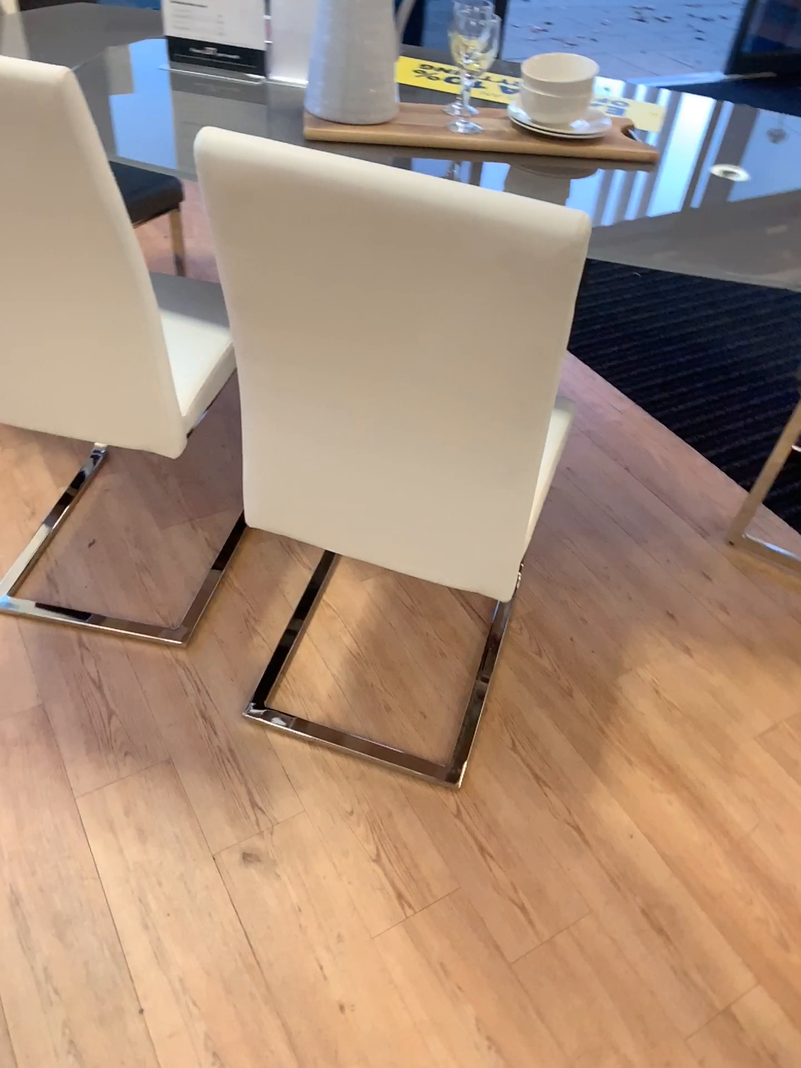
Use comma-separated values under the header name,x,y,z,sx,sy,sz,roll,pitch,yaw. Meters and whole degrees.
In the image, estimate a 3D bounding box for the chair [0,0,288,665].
name,x,y,z,sx,sy,sz,roll,pitch,yaw
chair,-0.467,-0.325,1.312,0.432,0.933,0.530,11,43,4

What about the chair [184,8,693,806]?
name,x,y,z,sx,sy,sz,roll,pitch,yaw
chair,0.049,-0.139,1.173,0.422,0.923,0.540,15,44,8
